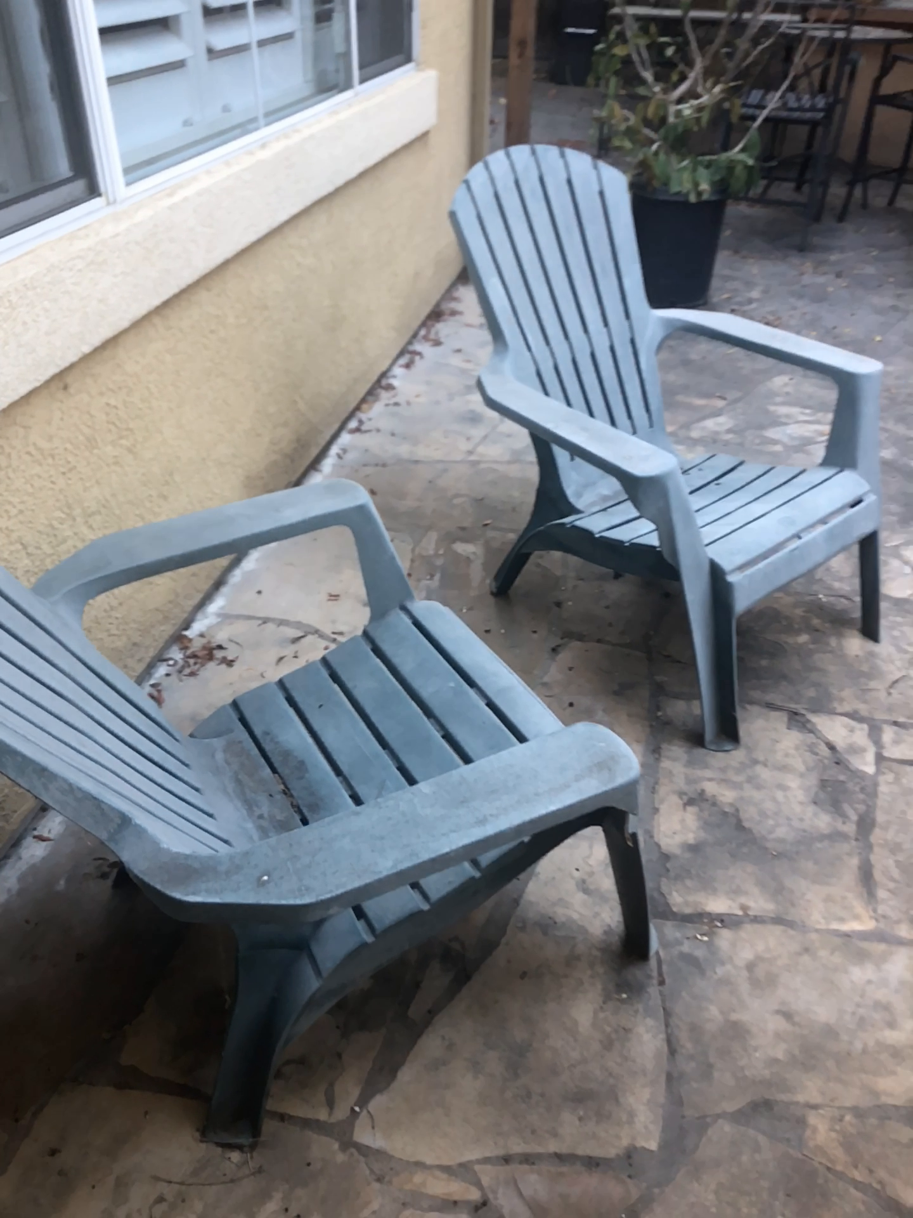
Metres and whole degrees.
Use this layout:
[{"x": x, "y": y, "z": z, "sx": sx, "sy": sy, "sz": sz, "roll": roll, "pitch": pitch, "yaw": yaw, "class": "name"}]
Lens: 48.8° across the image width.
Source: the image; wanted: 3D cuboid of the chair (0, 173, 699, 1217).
[{"x": -0.327, "y": 0.295, "z": 1.201, "sx": 0.914, "sy": 1.220, "sz": 0.743, "roll": -26, "pitch": 41, "yaw": -22, "class": "chair"}]

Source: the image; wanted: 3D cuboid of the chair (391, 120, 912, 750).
[{"x": 0.459, "y": -0.432, "z": 2.032, "sx": 0.694, "sy": 0.883, "sz": 0.922, "roll": -27, "pitch": 39, "yaw": -33, "class": "chair"}]
